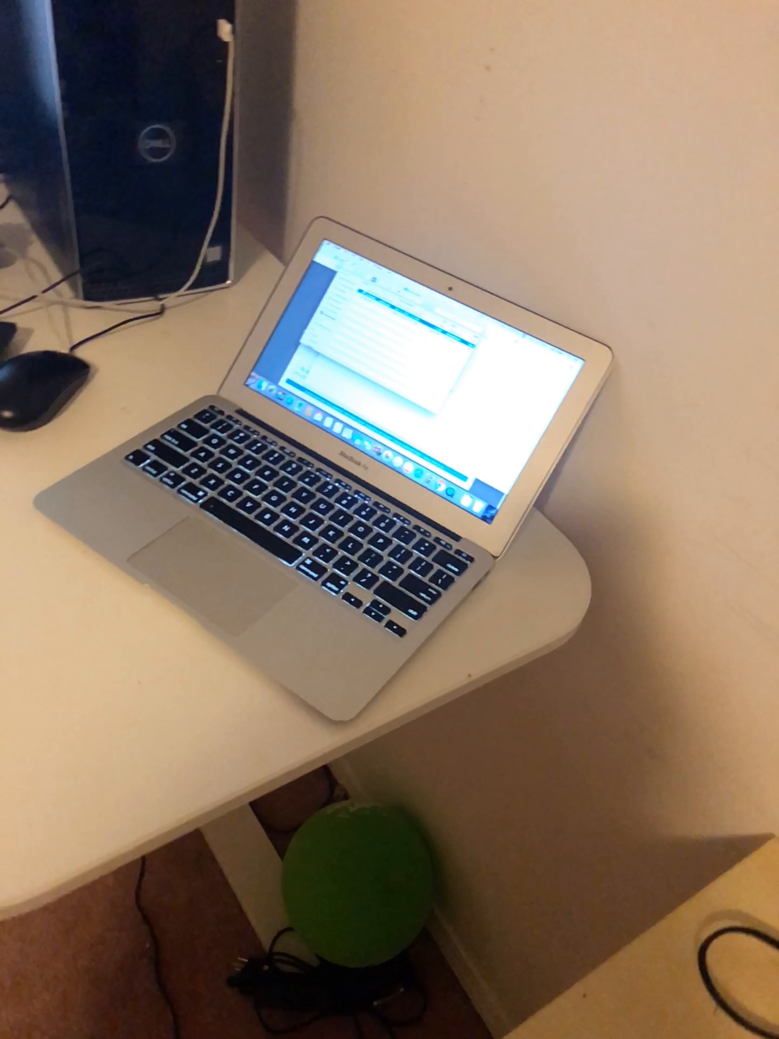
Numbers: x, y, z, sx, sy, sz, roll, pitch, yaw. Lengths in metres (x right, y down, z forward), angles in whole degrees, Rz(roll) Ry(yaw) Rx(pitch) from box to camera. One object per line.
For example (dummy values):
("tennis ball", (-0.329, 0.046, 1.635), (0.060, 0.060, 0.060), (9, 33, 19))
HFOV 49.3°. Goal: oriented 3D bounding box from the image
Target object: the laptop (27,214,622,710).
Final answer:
("laptop", (-0.039, -0.074, 0.628), (0.281, 0.126, 0.306), (29, 47, 23))
